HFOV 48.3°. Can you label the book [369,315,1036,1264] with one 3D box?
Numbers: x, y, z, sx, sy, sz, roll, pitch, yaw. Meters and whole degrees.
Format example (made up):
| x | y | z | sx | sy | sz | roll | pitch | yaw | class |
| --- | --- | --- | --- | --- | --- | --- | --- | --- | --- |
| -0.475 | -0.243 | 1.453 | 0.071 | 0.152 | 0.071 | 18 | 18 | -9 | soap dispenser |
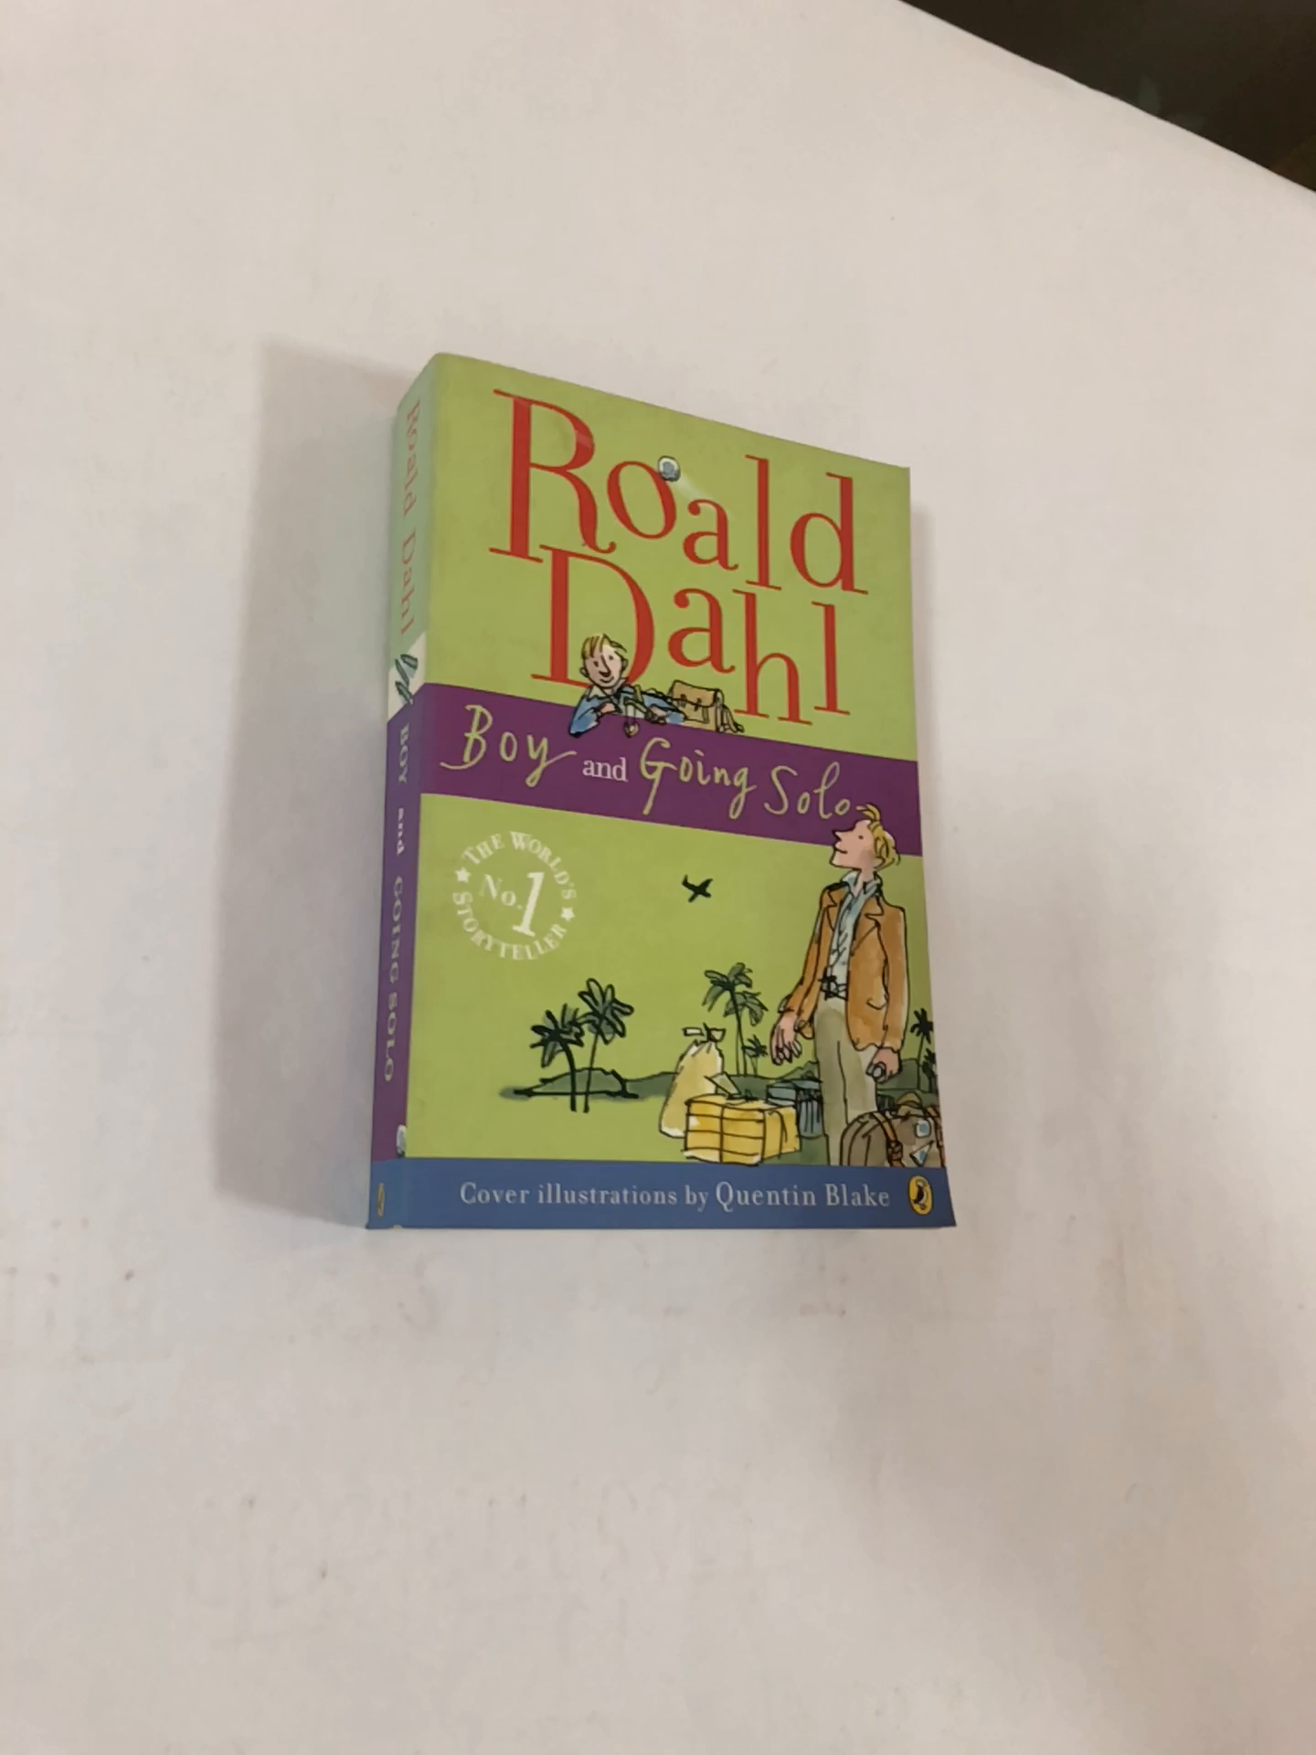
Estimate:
| x | y | z | sx | sy | sz | roll | pitch | yaw | class |
| --- | --- | --- | --- | --- | --- | --- | --- | --- | --- |
| 0.012 | -0.014 | 0.331 | 0.140 | 0.036 | 0.193 | 6 | 74 | -26 | book |
